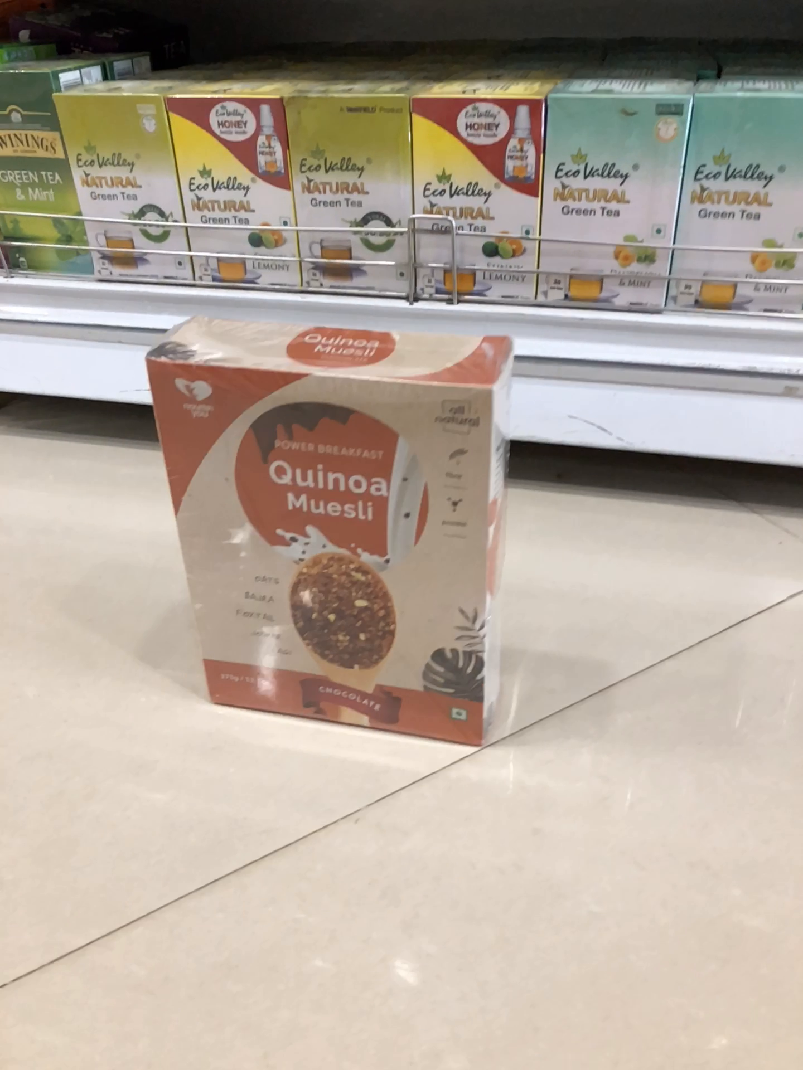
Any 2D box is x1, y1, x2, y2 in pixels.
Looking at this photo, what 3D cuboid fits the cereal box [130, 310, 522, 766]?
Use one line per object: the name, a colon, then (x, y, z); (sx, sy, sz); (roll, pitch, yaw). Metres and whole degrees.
cereal box: (-0.030, 0.008, 0.442); (0.160, 0.219, 0.050); (7, 36, 12)
